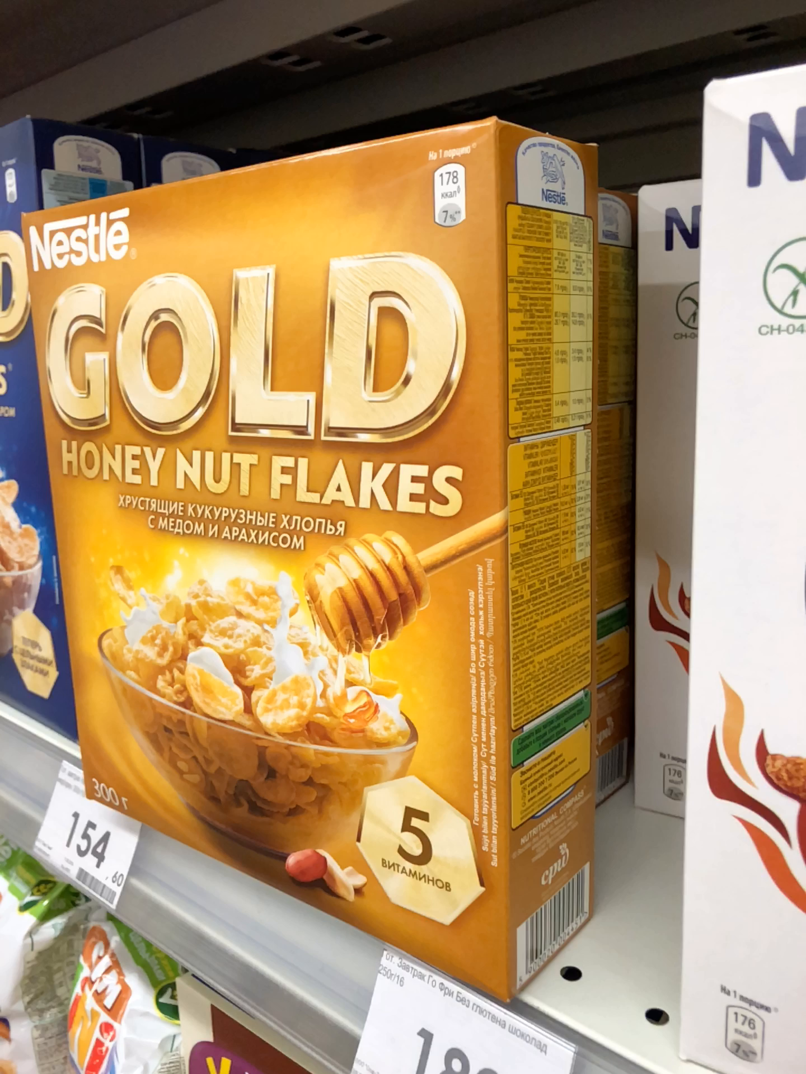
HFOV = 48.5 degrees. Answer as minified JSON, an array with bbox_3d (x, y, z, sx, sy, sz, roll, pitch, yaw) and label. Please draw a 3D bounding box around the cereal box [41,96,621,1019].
[{"bbox_3d":[-0.032,0.001,0.286,0.190,0.219,0.050,7,13,38],"label":"cereal box"}]
